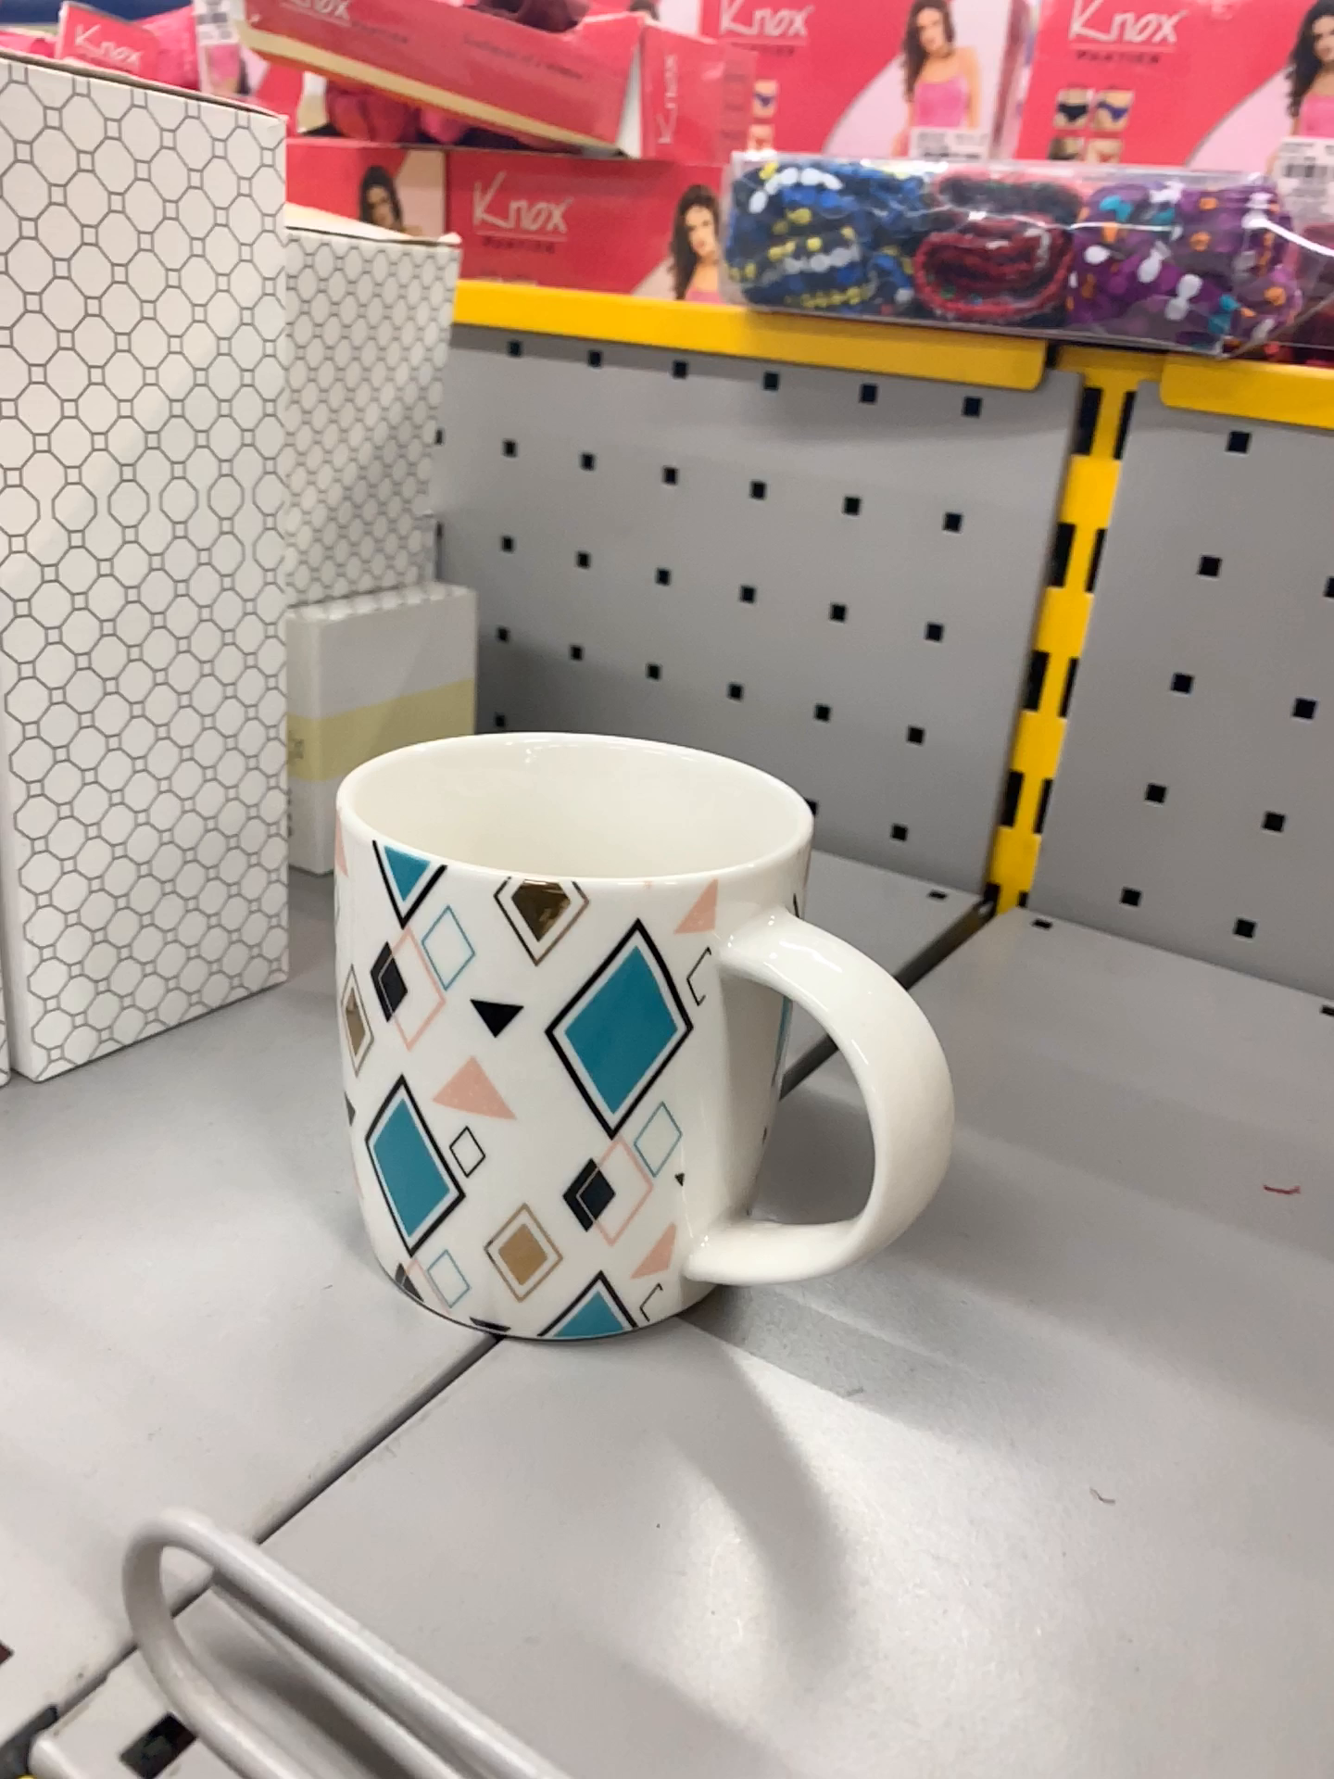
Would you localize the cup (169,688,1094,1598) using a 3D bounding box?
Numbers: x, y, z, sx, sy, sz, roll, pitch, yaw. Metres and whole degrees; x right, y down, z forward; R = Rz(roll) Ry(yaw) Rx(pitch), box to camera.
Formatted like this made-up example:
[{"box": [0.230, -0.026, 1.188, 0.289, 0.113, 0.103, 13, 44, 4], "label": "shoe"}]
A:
[{"box": [-0.009, 0.028, 0.250, 0.120, 0.090, 0.100, 22, 27, 33], "label": "cup"}]
